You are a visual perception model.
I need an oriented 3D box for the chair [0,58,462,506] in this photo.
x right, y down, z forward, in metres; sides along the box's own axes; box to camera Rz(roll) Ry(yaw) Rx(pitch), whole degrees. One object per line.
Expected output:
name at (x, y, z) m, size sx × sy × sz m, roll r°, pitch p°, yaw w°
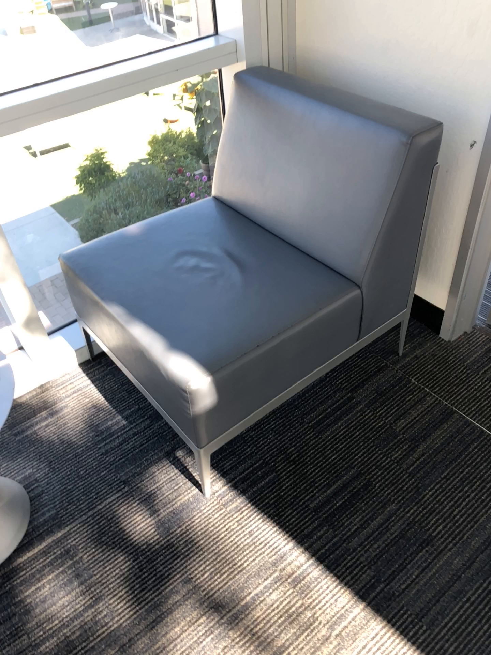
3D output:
chair at (-0.046, -0.193, 1.466) m, size 0.751 × 0.707 × 0.773 m, roll -29°, pitch 47°, yaw -25°
